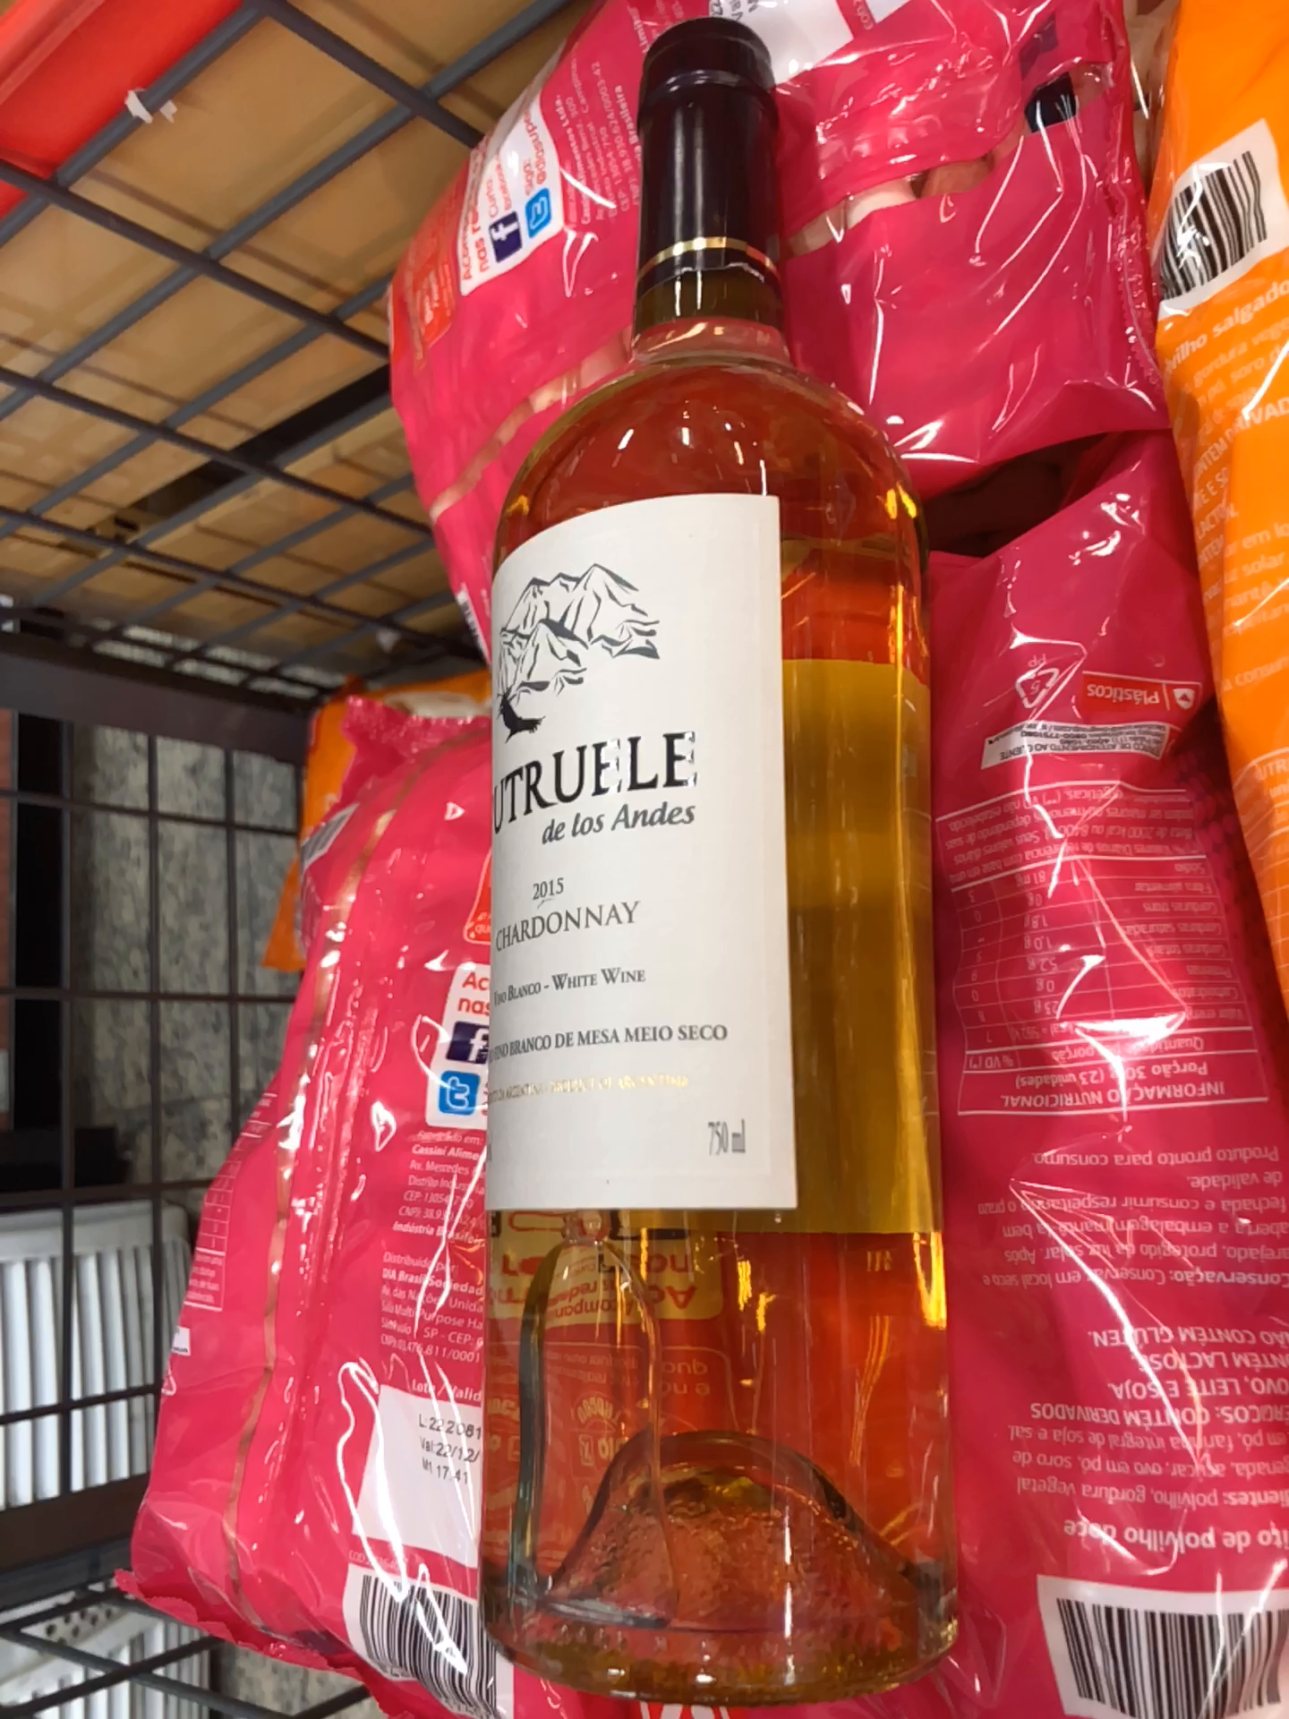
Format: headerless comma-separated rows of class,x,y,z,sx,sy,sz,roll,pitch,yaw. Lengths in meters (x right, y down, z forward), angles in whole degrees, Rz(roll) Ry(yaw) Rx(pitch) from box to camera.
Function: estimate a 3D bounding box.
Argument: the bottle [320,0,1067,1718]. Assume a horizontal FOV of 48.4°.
bottle,0.010,-0.027,0.246,0.080,0.070,0.300,-12,69,38
